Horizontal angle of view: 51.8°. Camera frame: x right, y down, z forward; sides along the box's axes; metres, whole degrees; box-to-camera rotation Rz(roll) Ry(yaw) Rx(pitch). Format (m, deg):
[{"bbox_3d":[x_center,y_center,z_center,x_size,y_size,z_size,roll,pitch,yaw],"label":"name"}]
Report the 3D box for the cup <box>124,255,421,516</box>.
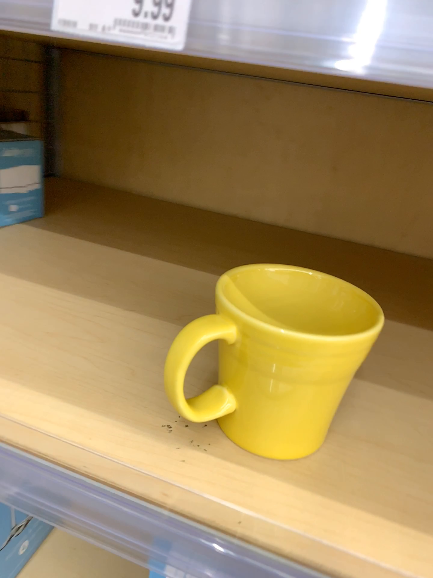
[{"bbox_3d":[0.030,0.044,0.282,0.139,0.088,0.104,-8,29,-34],"label":"cup"}]
